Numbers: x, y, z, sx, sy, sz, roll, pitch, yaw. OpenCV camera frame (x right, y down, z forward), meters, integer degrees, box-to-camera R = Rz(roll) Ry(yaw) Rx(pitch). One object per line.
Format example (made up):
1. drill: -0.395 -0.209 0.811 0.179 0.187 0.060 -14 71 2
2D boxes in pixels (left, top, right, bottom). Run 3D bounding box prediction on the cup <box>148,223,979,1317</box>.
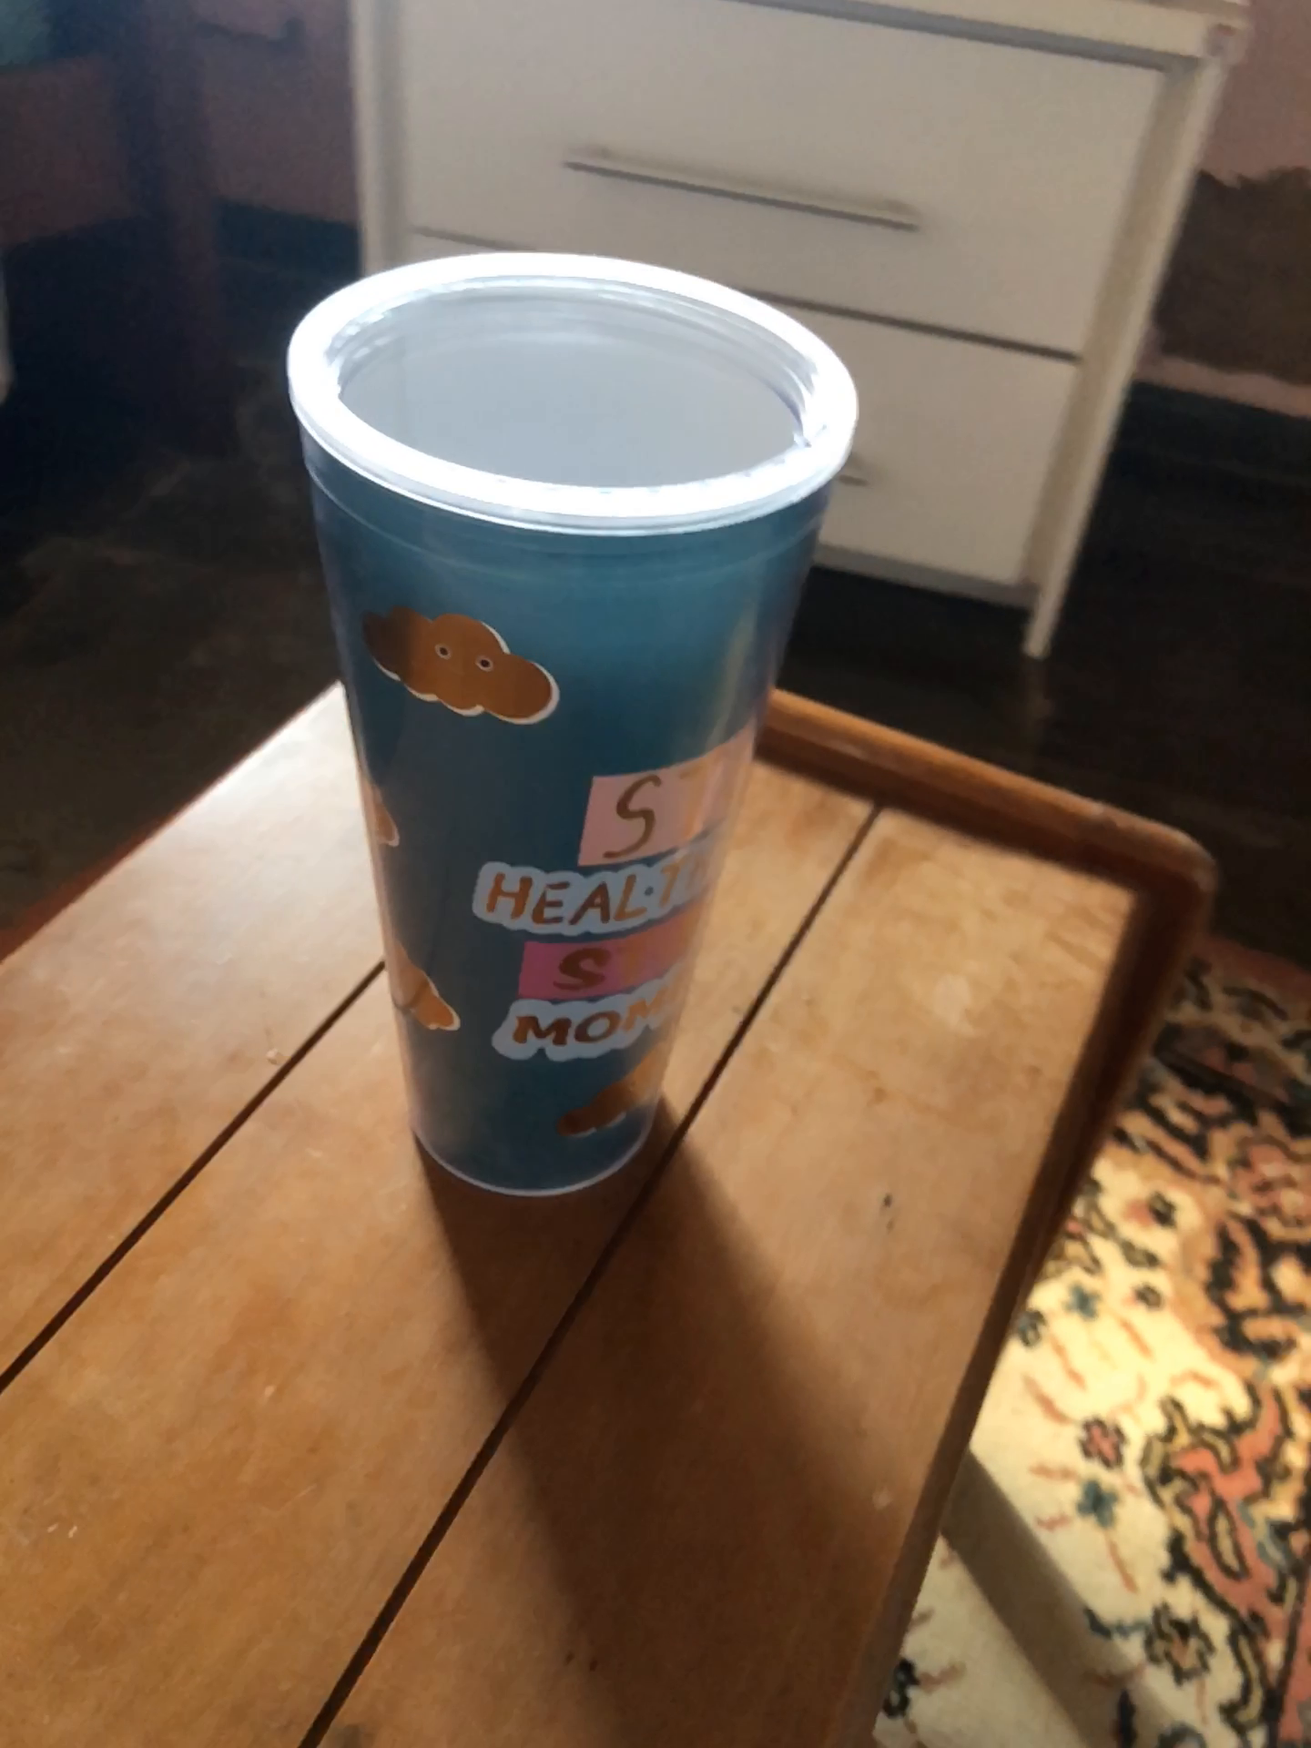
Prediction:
1. cup: -0.020 -0.019 0.306 0.100 0.179 0.101 4 42 -4
